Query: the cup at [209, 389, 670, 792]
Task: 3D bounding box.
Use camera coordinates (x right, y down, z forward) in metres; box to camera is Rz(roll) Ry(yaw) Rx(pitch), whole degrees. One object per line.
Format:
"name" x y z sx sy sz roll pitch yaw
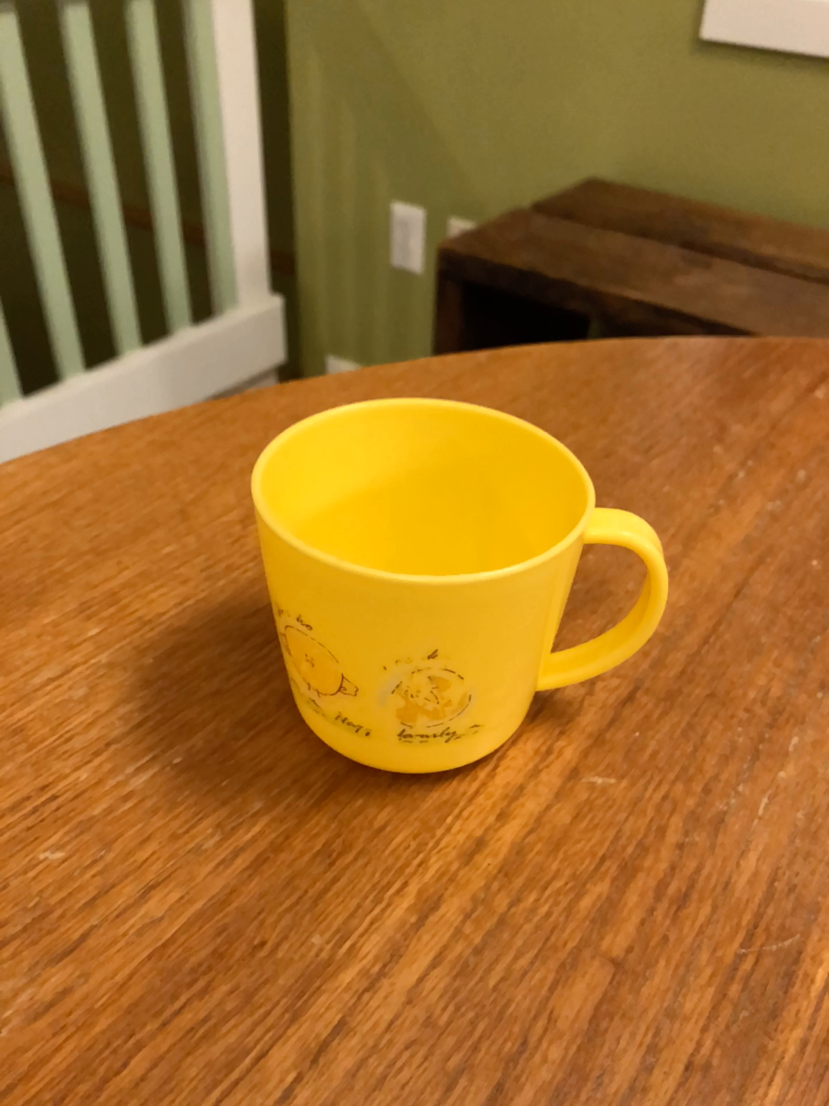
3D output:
"cup" 0.006 0.007 0.247 0.097 0.064 0.081 4 36 2
